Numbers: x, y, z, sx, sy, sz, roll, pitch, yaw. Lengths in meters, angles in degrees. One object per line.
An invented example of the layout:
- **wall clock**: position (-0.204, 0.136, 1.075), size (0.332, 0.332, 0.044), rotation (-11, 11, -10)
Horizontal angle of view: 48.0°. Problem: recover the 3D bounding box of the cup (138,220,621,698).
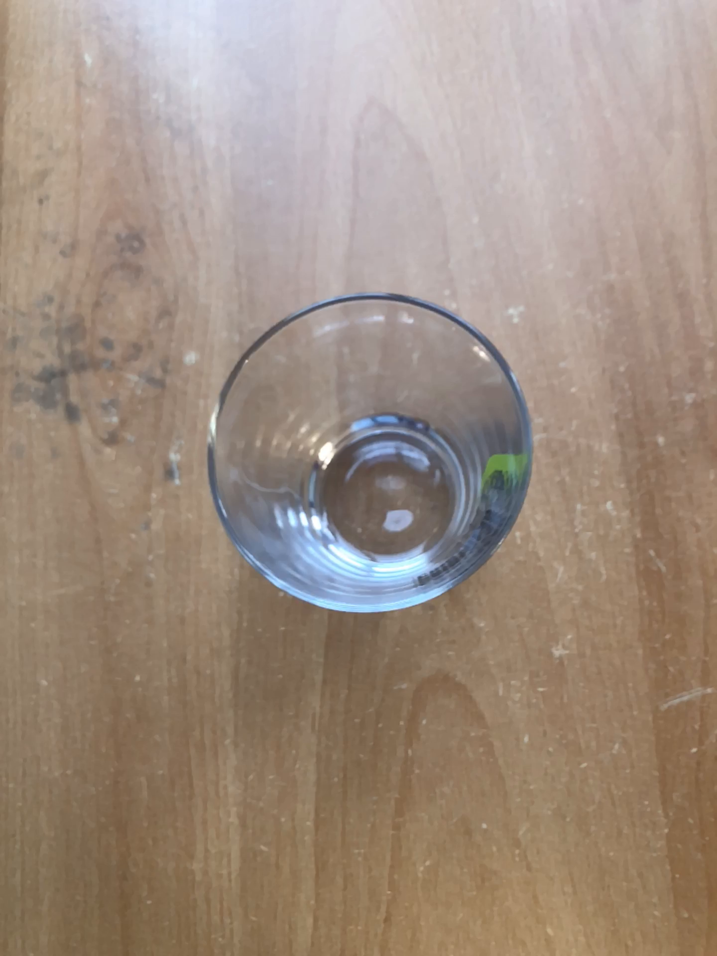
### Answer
- **cup**: position (0.007, -0.001, 0.218), size (0.076, 0.074, 0.079), rotation (-1, 81, 6)
